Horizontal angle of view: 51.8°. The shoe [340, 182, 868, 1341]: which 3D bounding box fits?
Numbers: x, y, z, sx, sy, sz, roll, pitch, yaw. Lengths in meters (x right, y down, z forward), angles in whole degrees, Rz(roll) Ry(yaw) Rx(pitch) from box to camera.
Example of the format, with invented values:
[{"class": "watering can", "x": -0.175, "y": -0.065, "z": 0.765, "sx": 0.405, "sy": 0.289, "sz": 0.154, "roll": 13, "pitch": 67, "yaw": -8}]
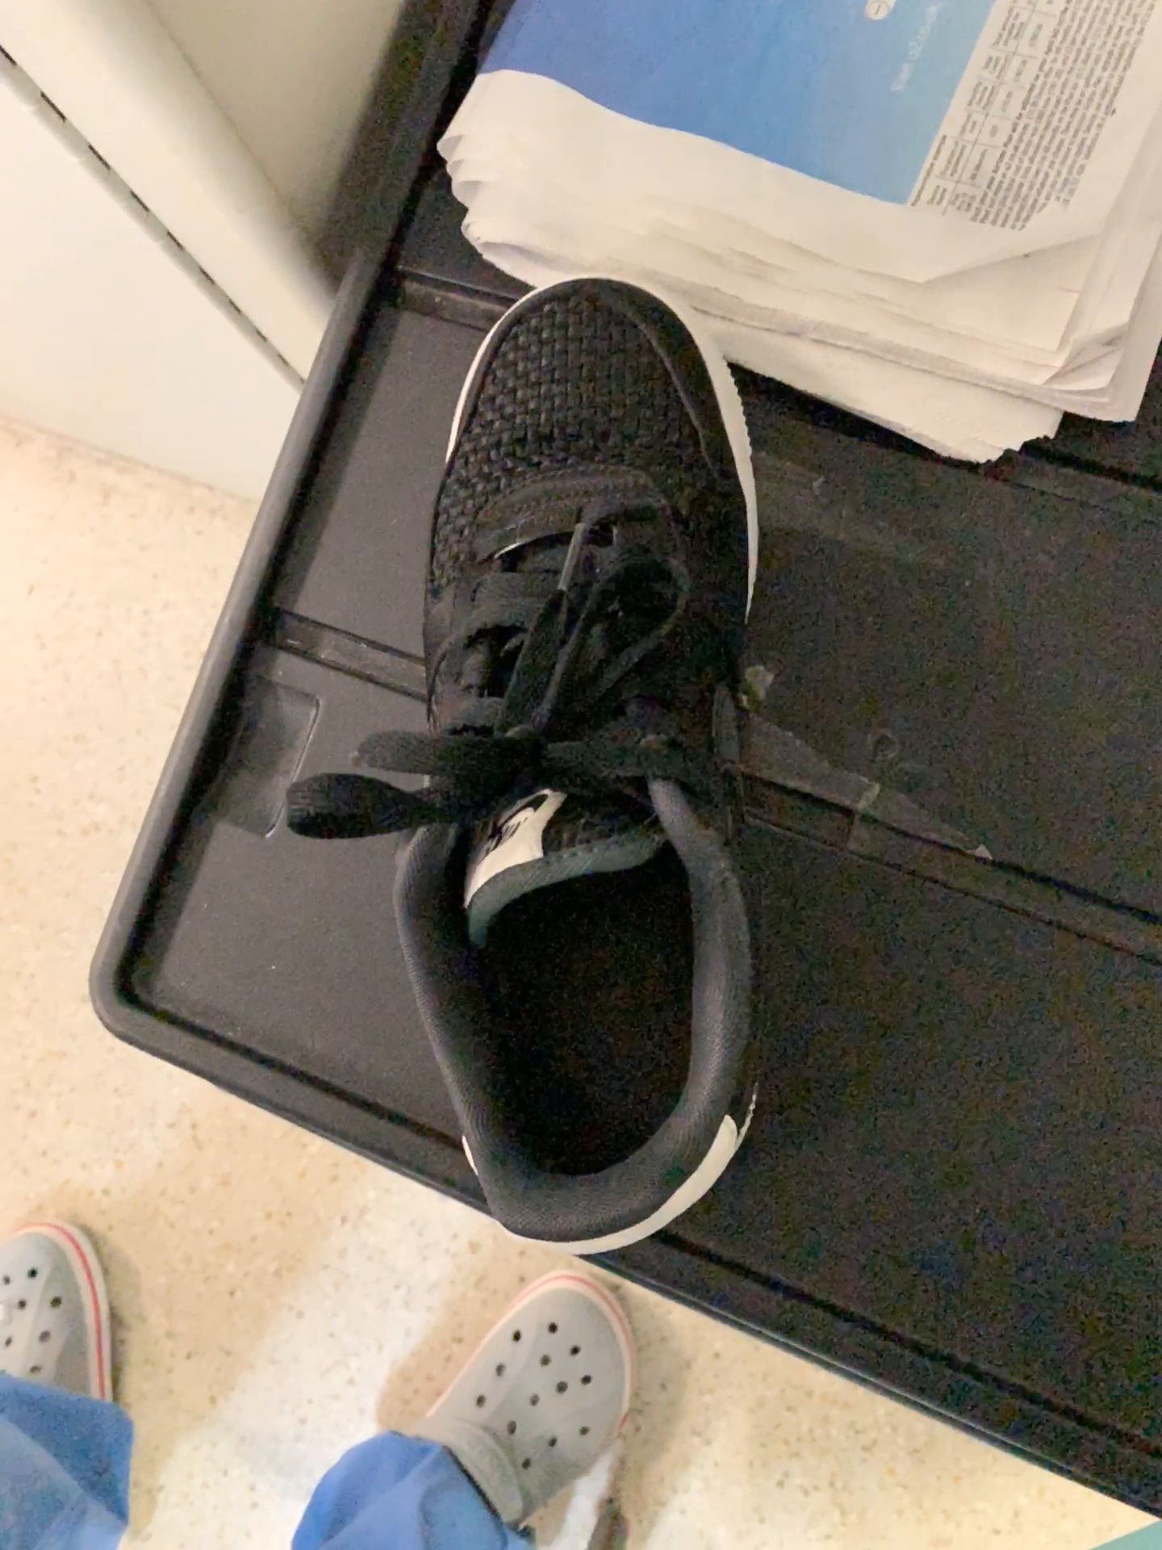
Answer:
[{"class": "shoe", "x": 0.007, "y": -0.001, "z": 0.284, "sx": 0.089, "sy": 0.094, "sz": 0.225, "roll": -5, "pitch": 83, "yaw": 8}]
